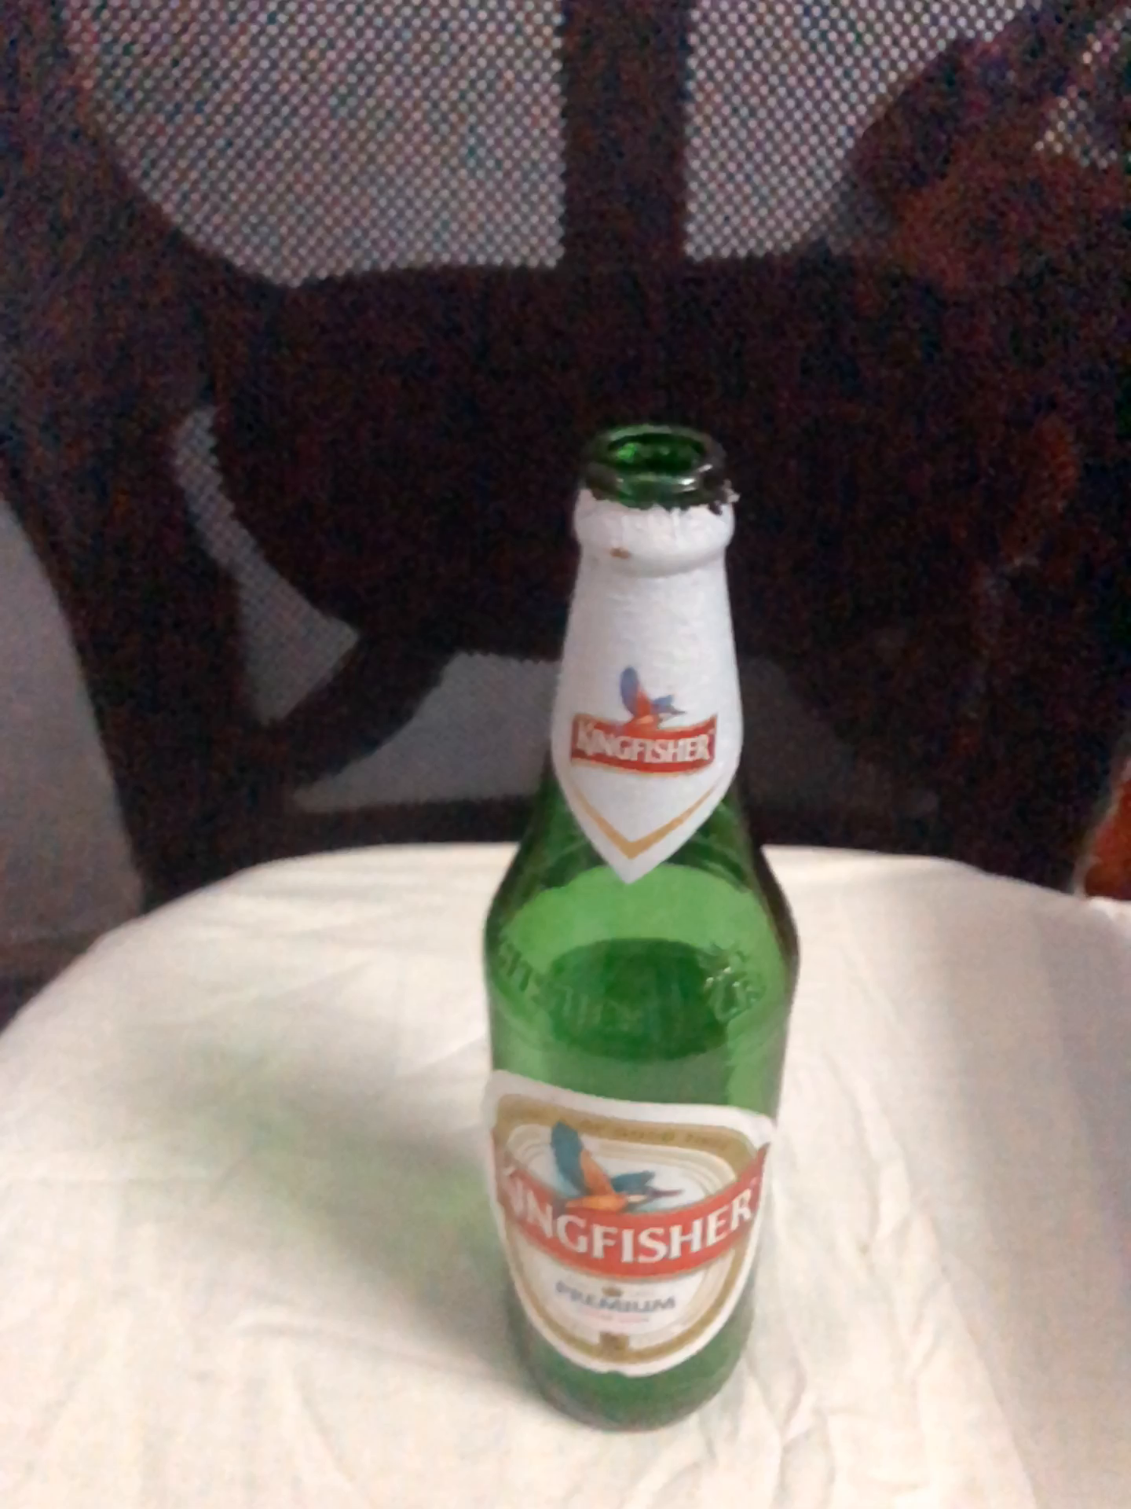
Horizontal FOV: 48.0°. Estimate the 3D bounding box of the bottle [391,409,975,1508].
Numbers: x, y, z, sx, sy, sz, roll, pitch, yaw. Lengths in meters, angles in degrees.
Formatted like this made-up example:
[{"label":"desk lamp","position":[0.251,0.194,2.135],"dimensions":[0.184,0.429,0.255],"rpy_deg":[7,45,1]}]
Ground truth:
[{"label":"bottle","position":[0.022,0.066,0.278],"dimensions":[0.080,0.259,0.070],"rpy_deg":[8,38,10]}]
